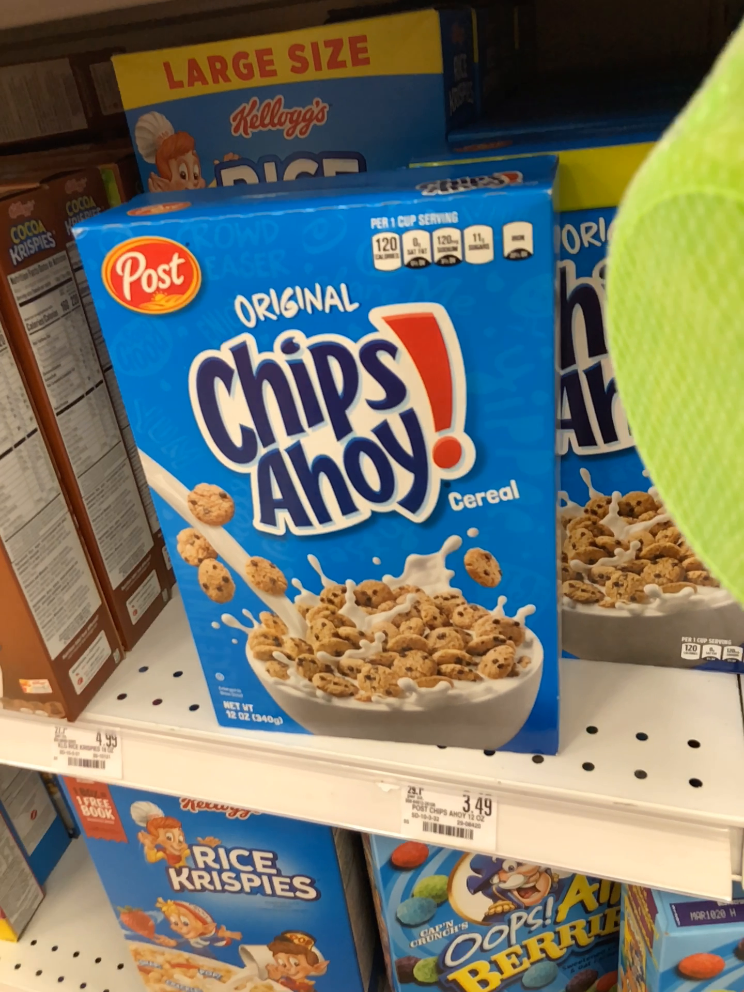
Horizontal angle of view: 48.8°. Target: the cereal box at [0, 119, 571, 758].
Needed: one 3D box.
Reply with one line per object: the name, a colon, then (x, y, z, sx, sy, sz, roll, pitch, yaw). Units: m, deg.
cereal box: (-0.015, -0.011, 0.369, 0.200, 0.259, 0.080, 0, 32, 15)
